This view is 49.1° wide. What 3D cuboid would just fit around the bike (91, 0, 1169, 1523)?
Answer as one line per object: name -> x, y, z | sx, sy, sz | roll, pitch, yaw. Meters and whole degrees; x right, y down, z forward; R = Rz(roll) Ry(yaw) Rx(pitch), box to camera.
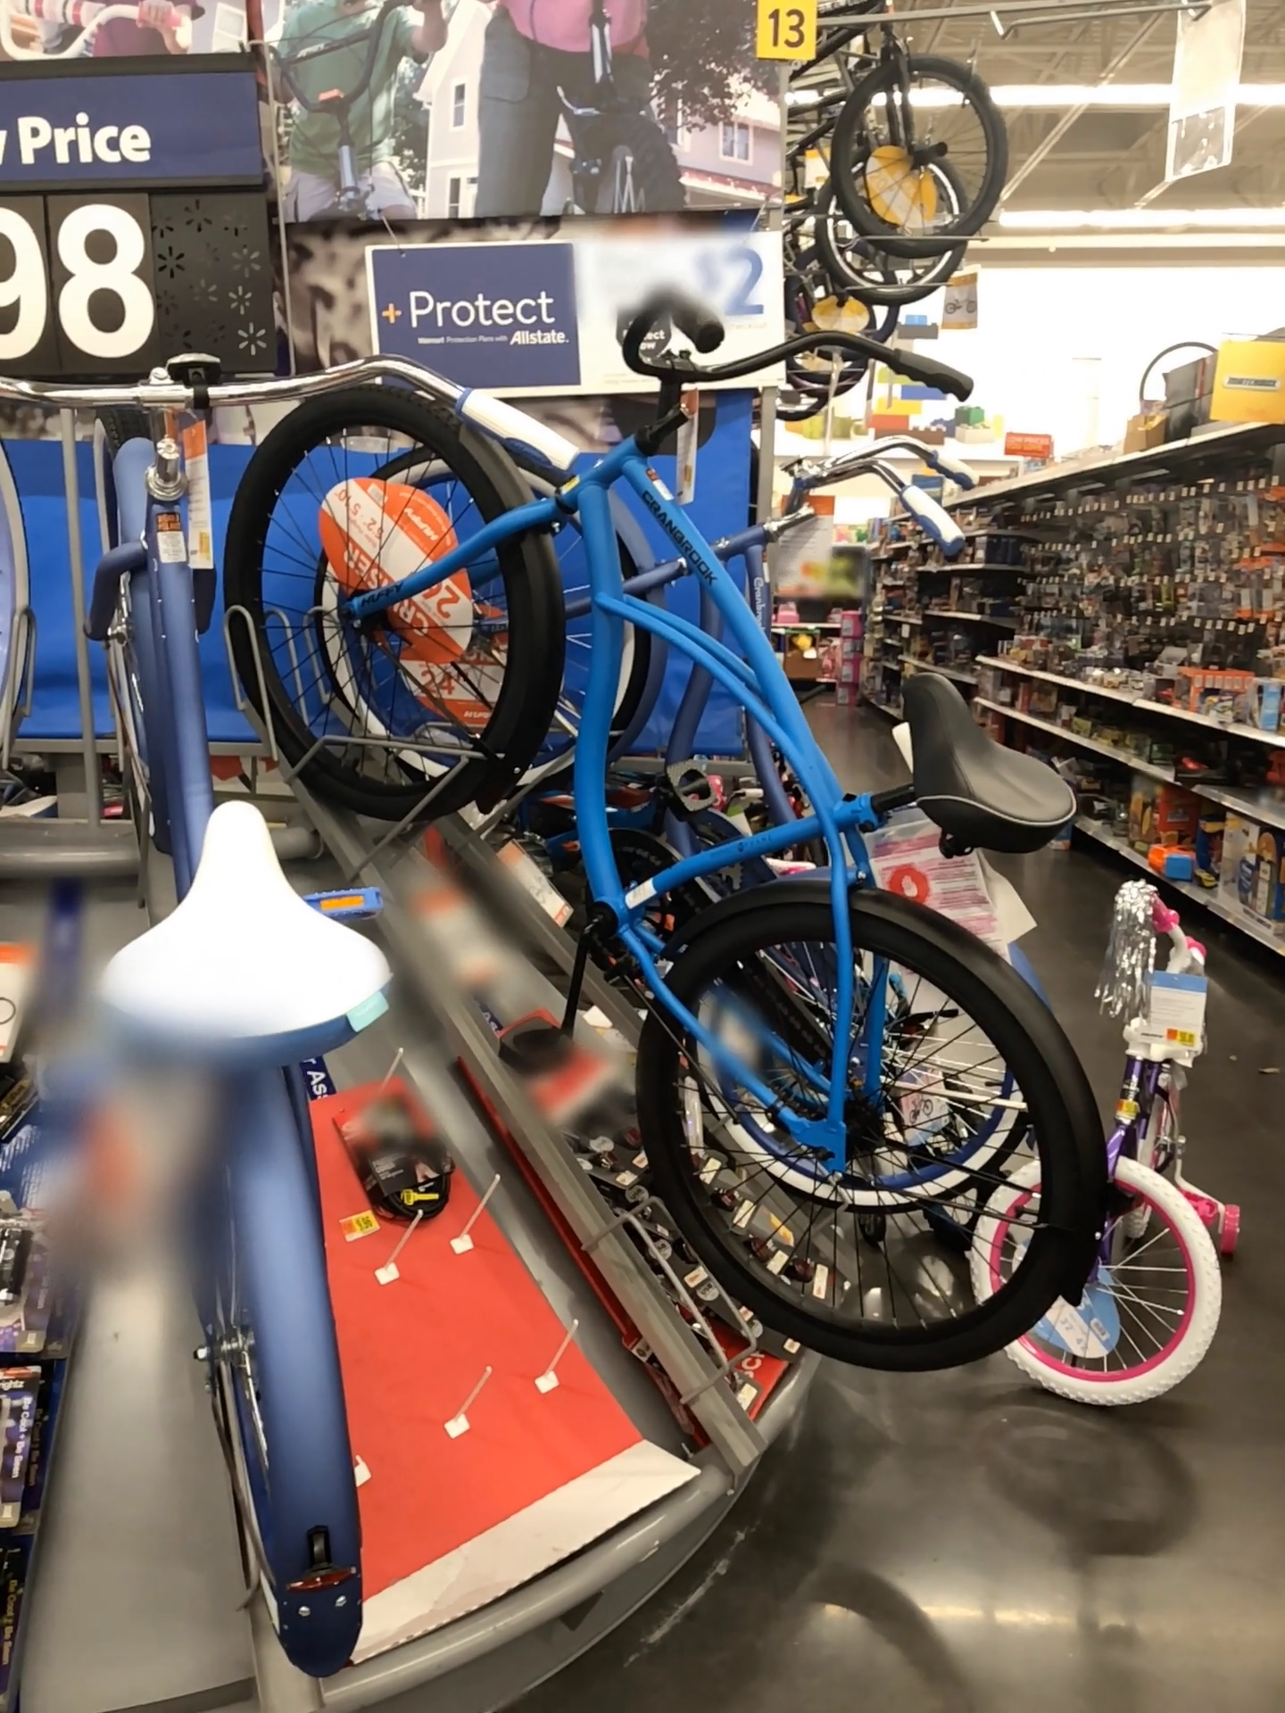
bike -> -0.023, -0.521, 1.812 | 1.559, 1.123, 0.506 | 34, 24, 21
